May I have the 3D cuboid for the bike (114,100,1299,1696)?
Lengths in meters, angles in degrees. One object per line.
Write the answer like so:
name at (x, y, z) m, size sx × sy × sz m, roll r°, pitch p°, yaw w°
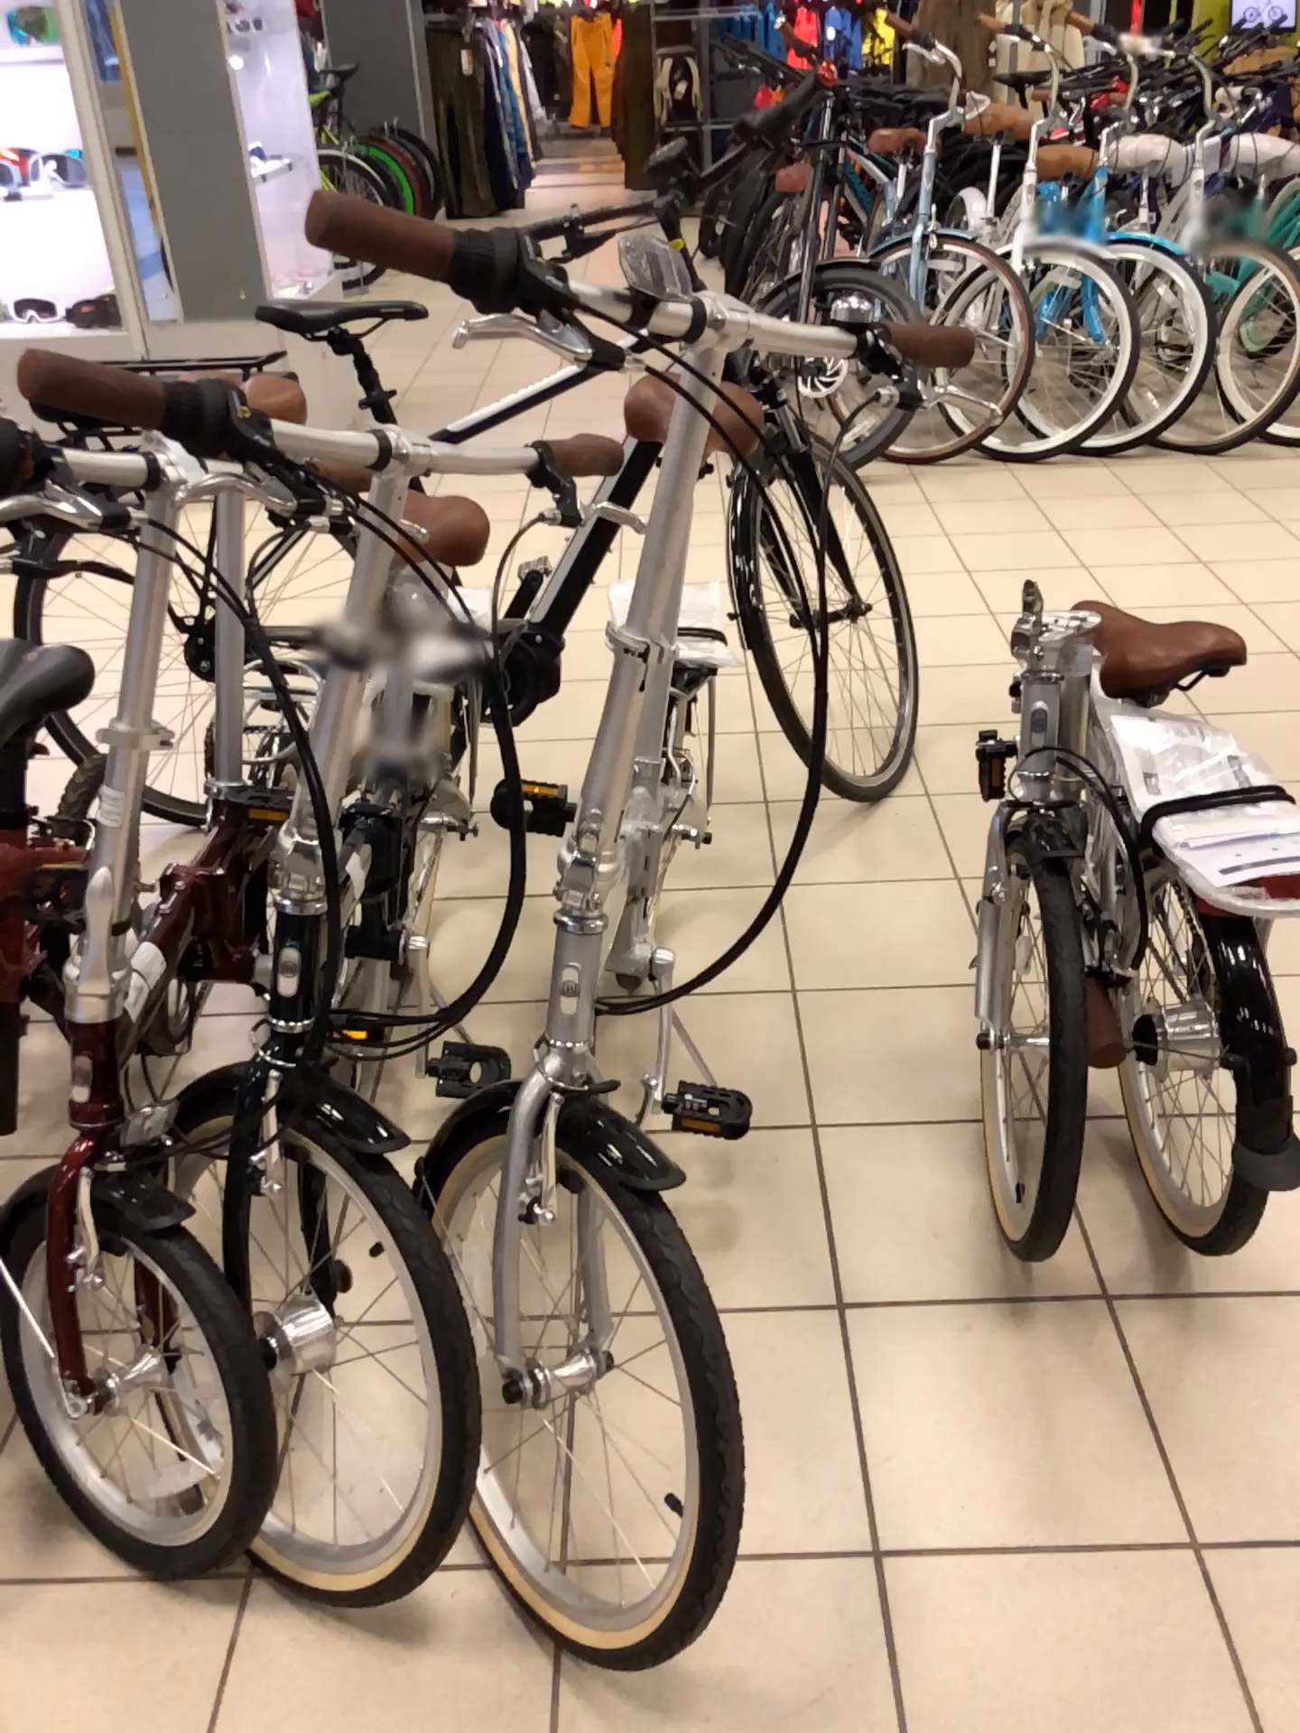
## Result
bike at (0.069, -0.142, 1.500) m, size 0.552 × 1.153 × 1.366 m, roll -2°, pitch 29°, yaw 1°

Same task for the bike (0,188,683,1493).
bike at (-0.282, -0.152, 1.688) m, size 0.556 × 1.036 × 1.146 m, roll -4°, pitch 31°, yaw -1°
